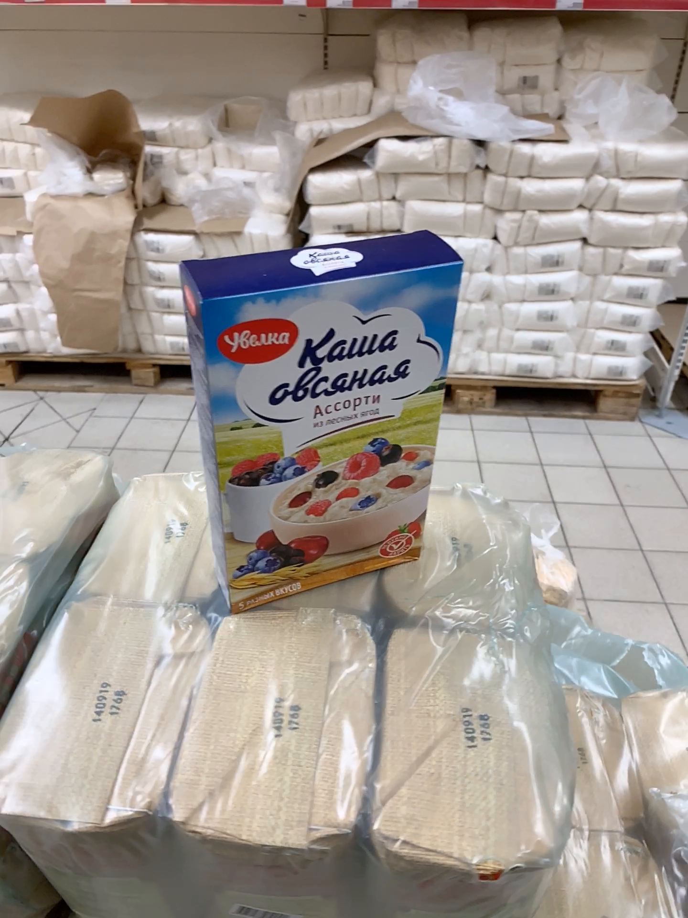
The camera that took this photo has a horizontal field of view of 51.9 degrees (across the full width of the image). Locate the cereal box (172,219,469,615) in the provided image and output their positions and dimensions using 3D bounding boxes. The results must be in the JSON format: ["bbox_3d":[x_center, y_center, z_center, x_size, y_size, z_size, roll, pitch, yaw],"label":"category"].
[{"bbox_3d":[-0.013,-0.018,0.391,0.130,0.198,0.050,-14,39,-20],"label":"cereal box"}]
